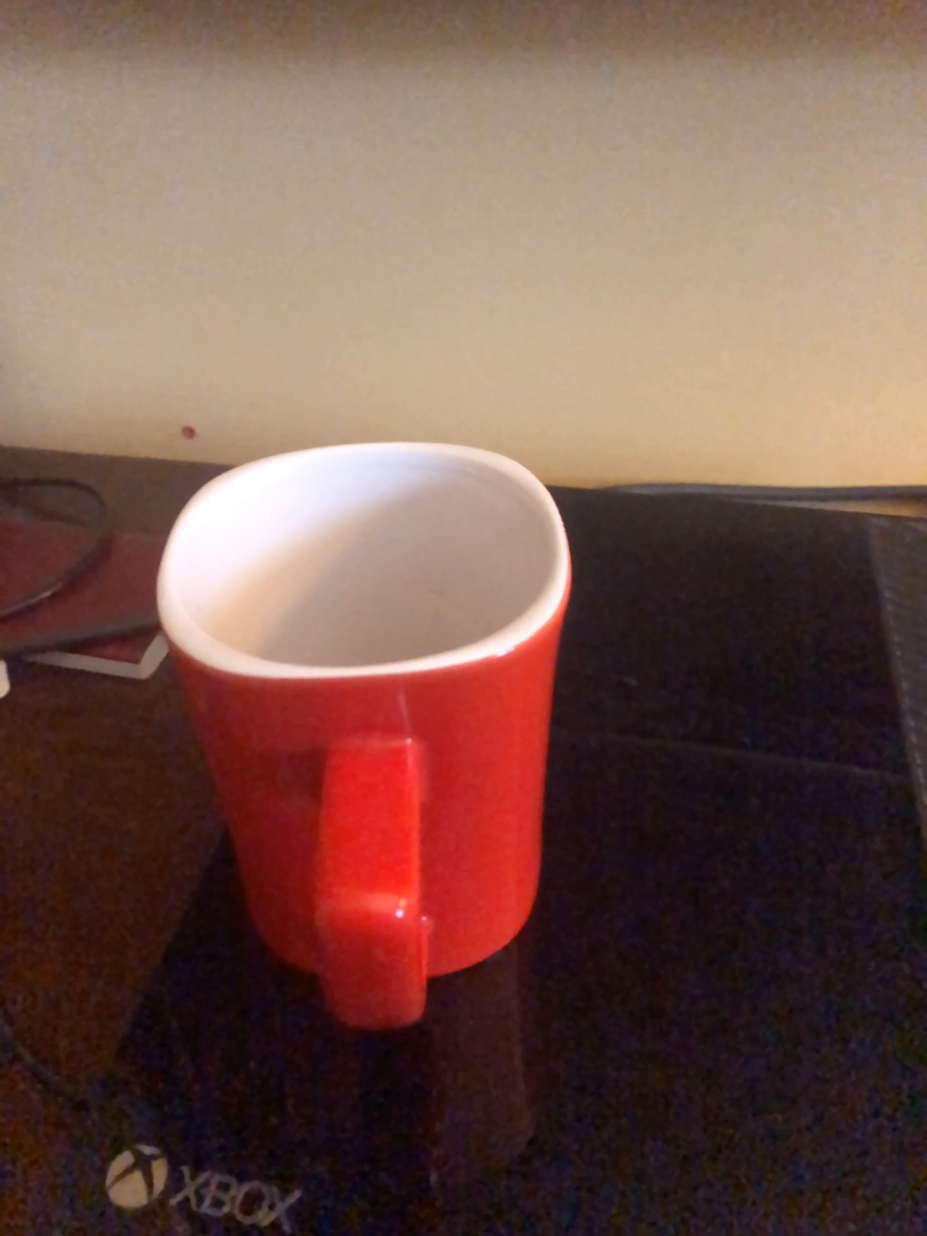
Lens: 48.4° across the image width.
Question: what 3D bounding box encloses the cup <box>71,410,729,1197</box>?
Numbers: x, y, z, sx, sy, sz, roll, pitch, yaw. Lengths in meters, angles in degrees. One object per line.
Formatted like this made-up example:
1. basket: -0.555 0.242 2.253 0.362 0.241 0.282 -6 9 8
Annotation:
1. cup: -0.010 0.029 0.196 0.080 0.089 0.111 -3 38 -2
